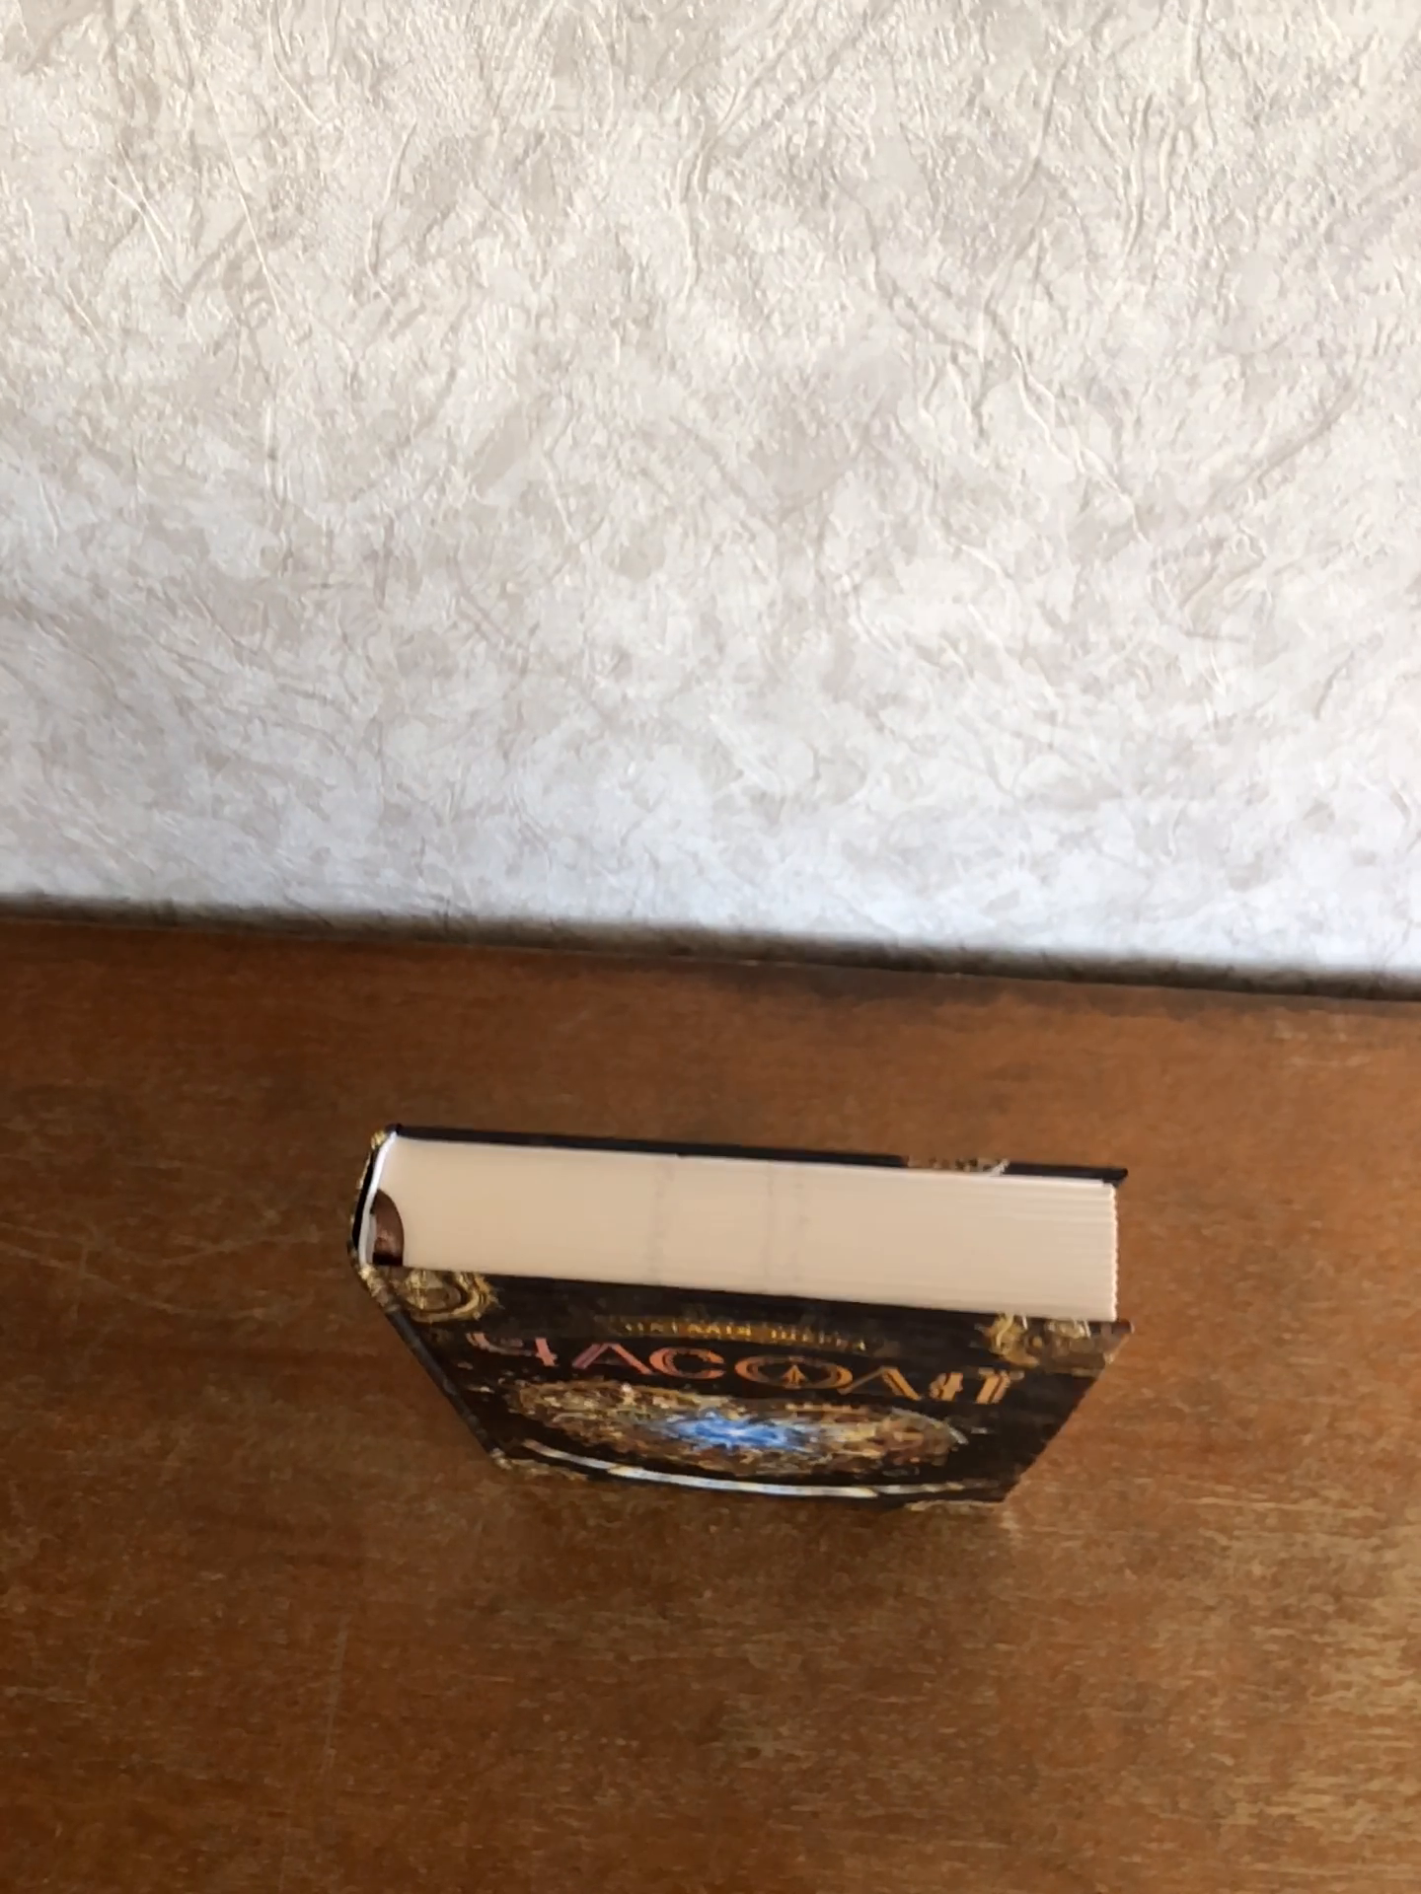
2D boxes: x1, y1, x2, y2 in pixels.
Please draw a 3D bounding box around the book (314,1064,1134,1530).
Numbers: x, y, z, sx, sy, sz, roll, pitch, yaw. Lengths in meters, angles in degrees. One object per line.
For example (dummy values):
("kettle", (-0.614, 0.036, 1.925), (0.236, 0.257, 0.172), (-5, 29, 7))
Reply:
("book", (0.006, 0.107, 0.426), (0.166, 0.228, 0.042), (3, 59, 4))
